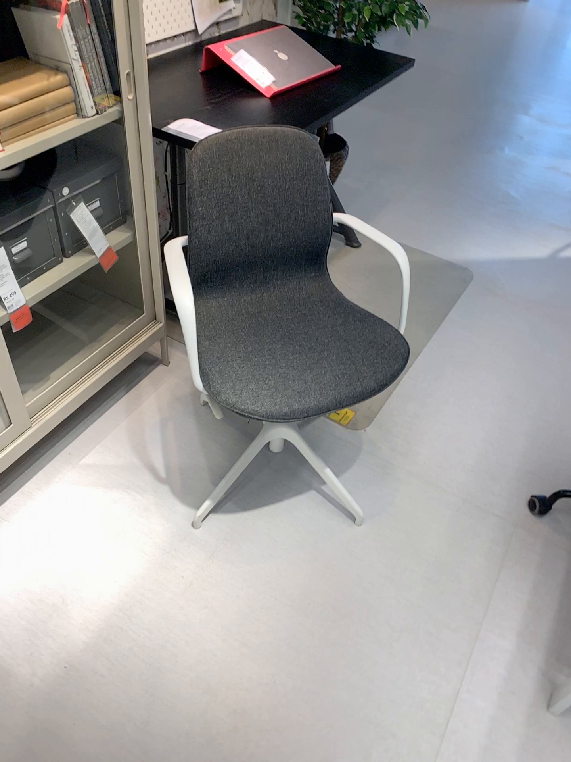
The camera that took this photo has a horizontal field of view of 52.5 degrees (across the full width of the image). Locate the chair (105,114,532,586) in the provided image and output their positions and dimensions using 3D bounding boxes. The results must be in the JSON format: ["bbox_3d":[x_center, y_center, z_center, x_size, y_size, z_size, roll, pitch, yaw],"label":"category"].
[{"bbox_3d":[-0.002,-0.085,1.436,0.621,0.837,0.642,-16,49,-22],"label":"chair"}]
